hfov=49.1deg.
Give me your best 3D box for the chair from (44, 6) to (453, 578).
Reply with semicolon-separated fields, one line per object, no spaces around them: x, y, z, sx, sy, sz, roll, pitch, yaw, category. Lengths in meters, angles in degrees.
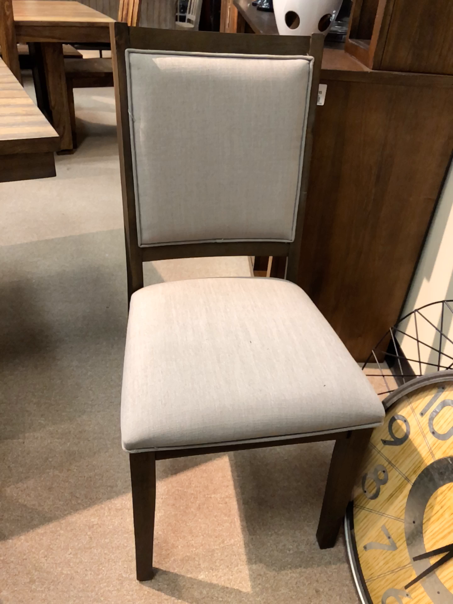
-0.020;0.002;0.952;0.460;0.923;0.494;-3;35;-11;chair
